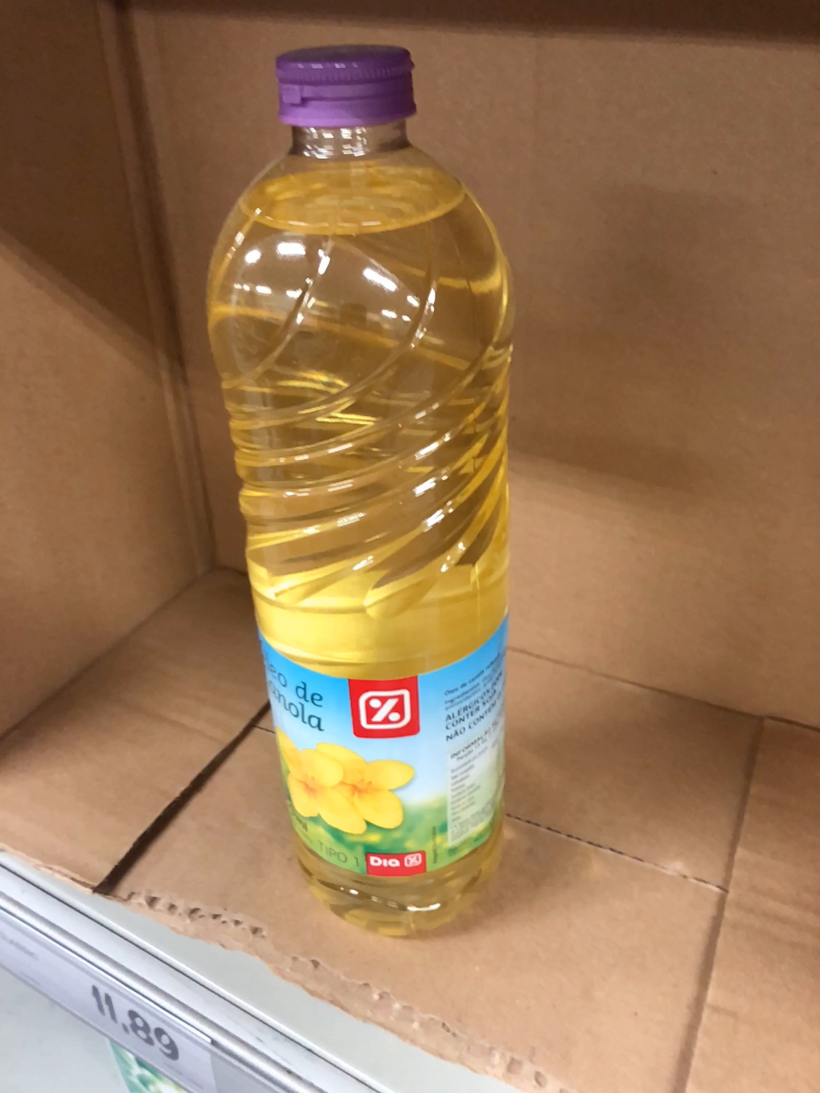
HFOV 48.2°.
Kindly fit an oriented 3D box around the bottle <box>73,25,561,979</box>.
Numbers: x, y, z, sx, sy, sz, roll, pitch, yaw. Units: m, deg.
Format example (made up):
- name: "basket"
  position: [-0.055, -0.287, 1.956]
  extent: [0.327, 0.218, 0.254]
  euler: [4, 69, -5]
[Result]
- name: "bottle"
  position: [-0.011, 0.011, 0.256]
  extent: [0.080, 0.268, 0.050]
  euler: [14, 40, 22]
